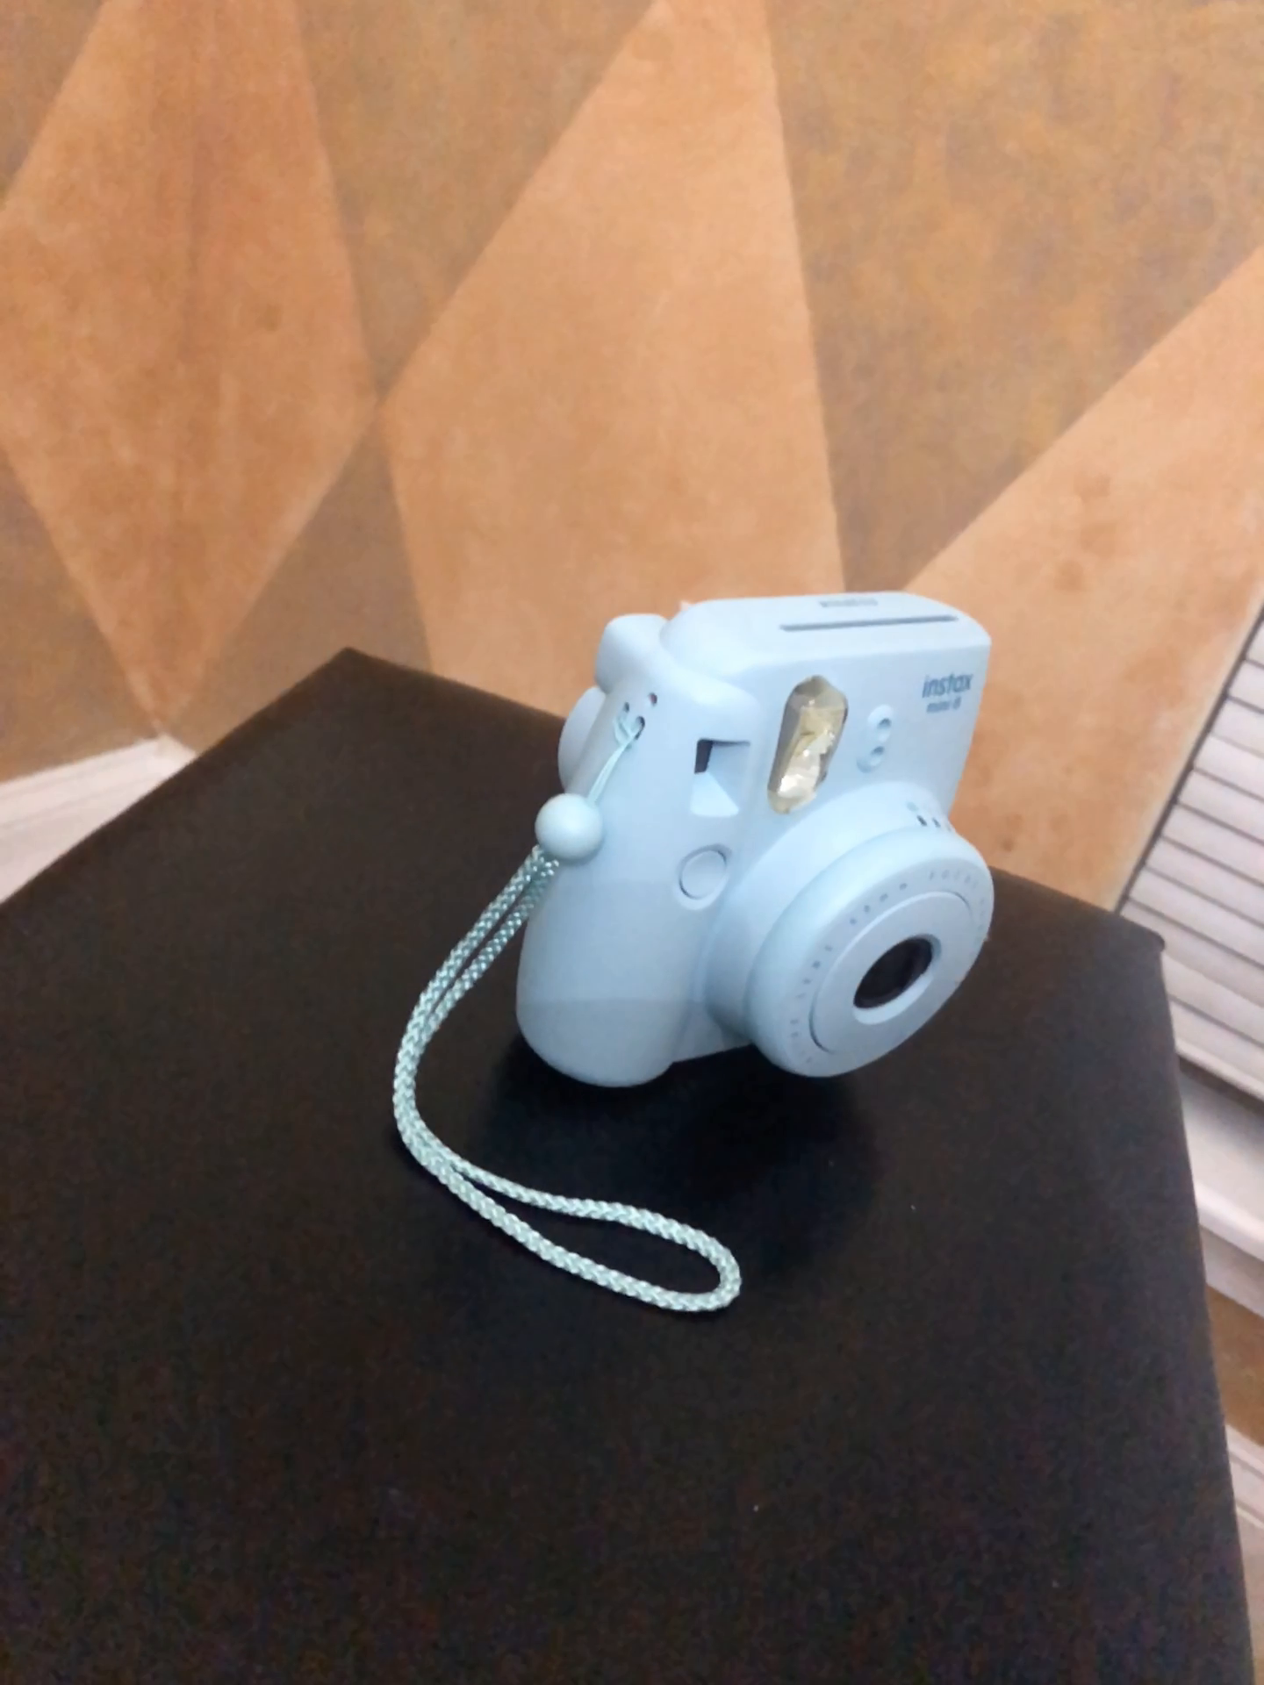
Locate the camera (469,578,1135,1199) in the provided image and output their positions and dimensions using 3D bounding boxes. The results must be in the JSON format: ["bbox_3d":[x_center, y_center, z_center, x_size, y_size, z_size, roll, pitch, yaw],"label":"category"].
[{"bbox_3d":[0.038,0.005,0.345,0.120,0.118,0.068,-9,38,-36],"label":"camera"}]
